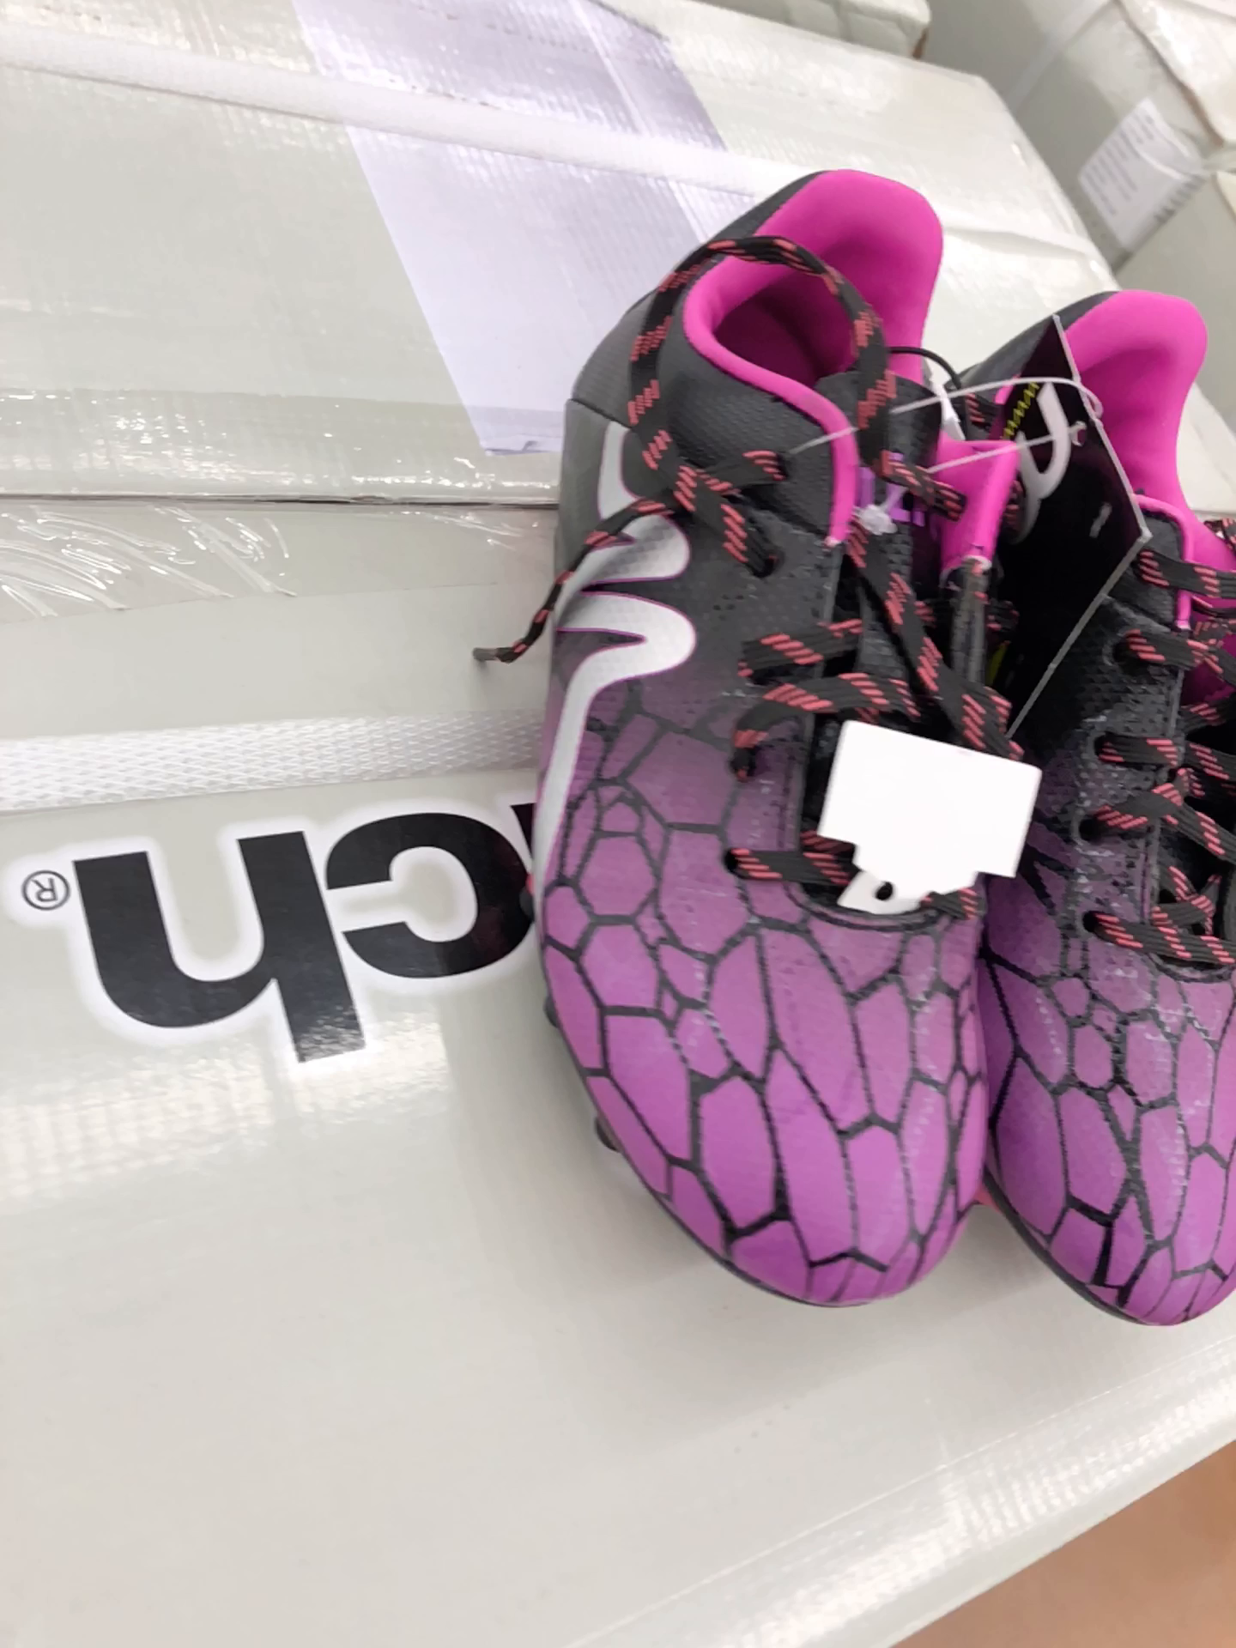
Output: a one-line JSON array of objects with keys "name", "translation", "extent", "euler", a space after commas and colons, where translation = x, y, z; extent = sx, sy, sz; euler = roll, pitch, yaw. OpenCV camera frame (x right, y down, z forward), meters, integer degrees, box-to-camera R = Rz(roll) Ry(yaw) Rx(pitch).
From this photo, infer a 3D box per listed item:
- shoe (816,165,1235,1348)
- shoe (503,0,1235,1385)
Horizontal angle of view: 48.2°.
[{"name": "shoe", "translation": [0.111, -0.015, 0.273], "extent": [0.080, 0.080, 0.210], "euler": [9, 58, -25]}, {"name": "shoe", "translation": [0.036, -0.025, 0.231], "extent": [0.080, 0.080, 0.210], "euler": [10, 58, -24]}]
